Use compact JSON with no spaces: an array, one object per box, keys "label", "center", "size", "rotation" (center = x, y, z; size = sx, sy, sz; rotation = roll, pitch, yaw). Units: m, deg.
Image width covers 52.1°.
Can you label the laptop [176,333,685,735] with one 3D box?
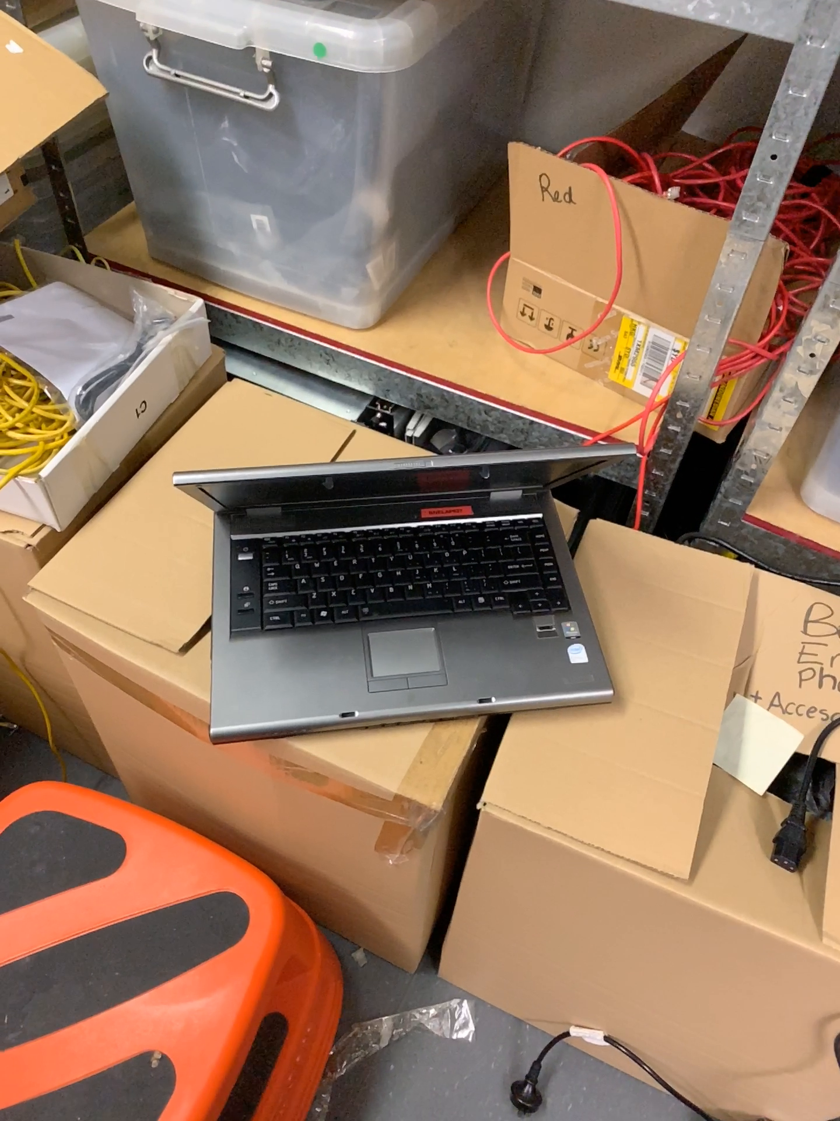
[{"label":"laptop","center":[-0.012,-0.027,0.746],"size":[0.352,0.203,0.254],"rotation":[-4,51,-6]}]
